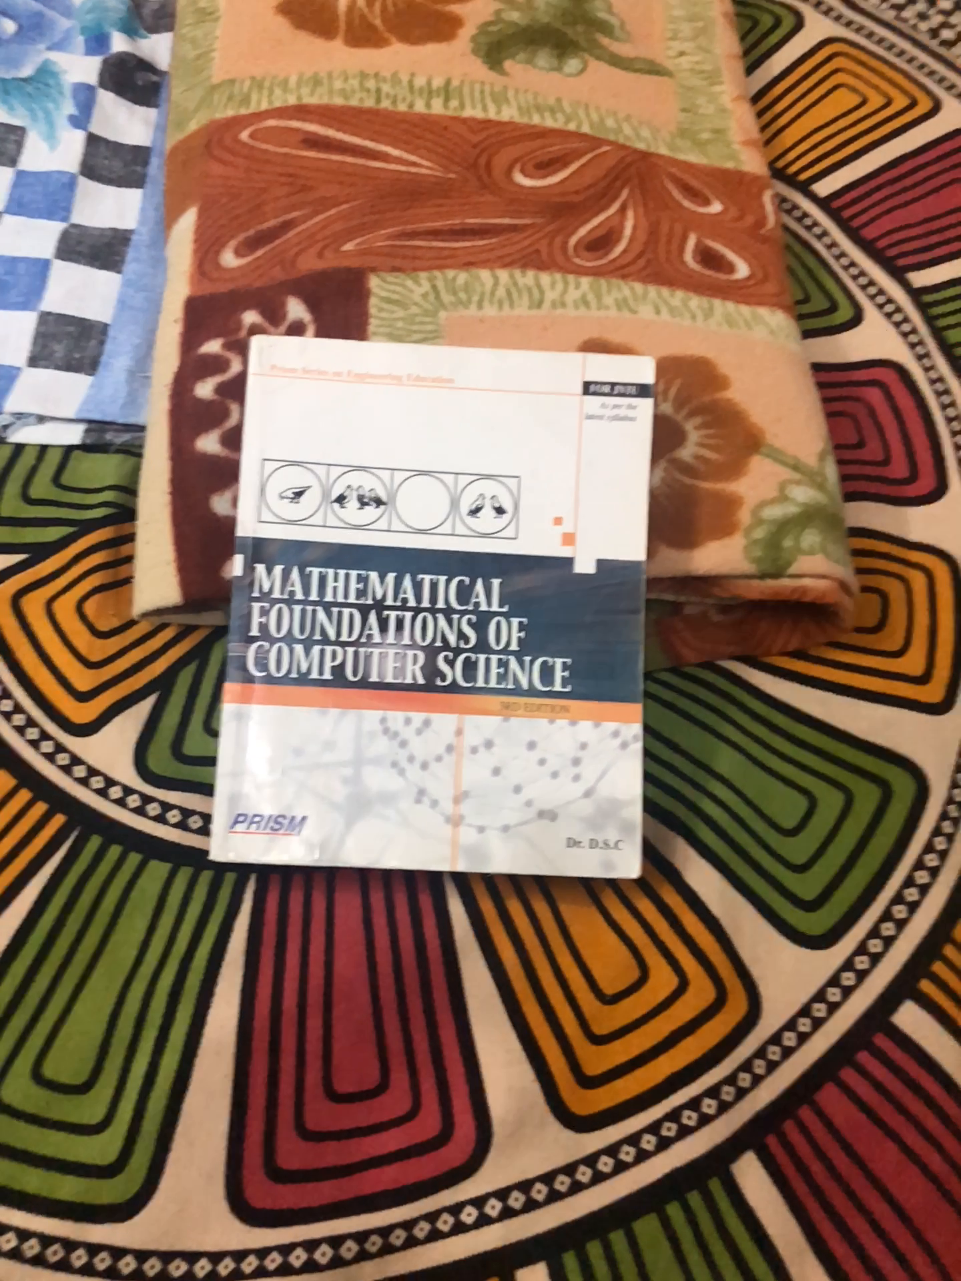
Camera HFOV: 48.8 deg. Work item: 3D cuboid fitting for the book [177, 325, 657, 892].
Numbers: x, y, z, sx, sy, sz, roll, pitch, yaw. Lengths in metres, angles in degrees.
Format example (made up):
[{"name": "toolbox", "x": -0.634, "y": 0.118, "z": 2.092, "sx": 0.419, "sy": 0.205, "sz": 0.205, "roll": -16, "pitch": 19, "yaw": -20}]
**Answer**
[{"name": "book", "x": -0.024, "y": -0.012, "z": 0.468, "sx": 0.190, "sy": 0.050, "sz": 0.230, "roll": 3, "pitch": 84, "yaw": -4}]
